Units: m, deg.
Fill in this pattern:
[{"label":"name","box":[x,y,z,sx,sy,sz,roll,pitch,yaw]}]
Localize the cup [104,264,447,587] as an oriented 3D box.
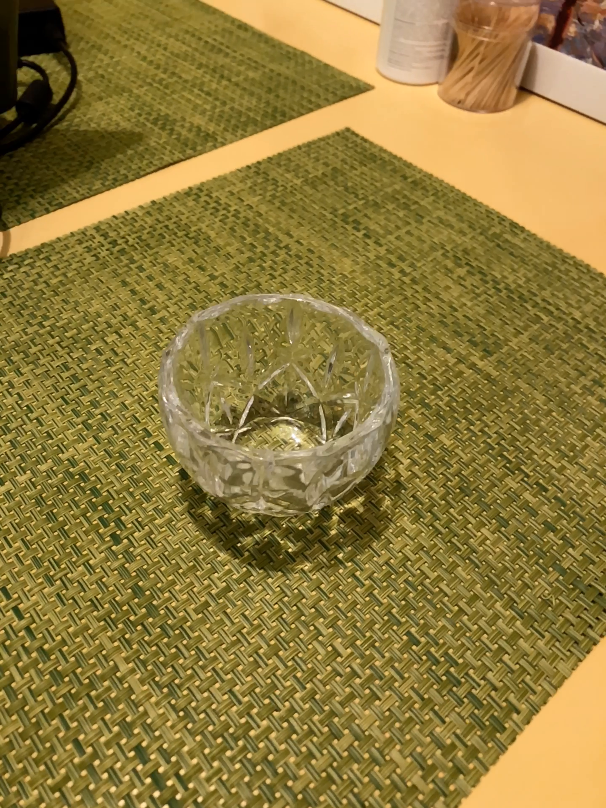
[{"label":"cup","box":[-0.011,0.003,0.217,0.080,0.045,0.072,-19,52,-20]}]
